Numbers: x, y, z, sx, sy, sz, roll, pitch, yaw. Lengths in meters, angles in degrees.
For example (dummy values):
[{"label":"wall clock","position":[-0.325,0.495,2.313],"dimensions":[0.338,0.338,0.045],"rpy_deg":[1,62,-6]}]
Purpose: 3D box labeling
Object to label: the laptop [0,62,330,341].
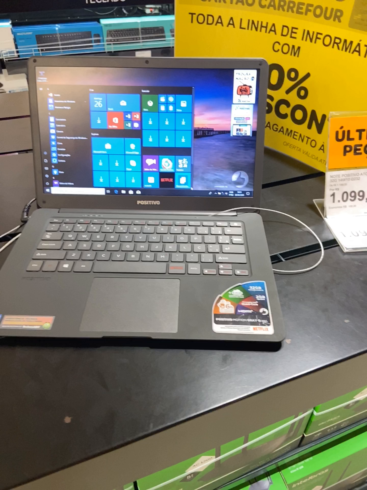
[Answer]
[{"label":"laptop","position":[-0.048,-0.070,0.413],"dimensions":[0.296,0.159,0.293],"rpy_deg":[1,41,1]}]
